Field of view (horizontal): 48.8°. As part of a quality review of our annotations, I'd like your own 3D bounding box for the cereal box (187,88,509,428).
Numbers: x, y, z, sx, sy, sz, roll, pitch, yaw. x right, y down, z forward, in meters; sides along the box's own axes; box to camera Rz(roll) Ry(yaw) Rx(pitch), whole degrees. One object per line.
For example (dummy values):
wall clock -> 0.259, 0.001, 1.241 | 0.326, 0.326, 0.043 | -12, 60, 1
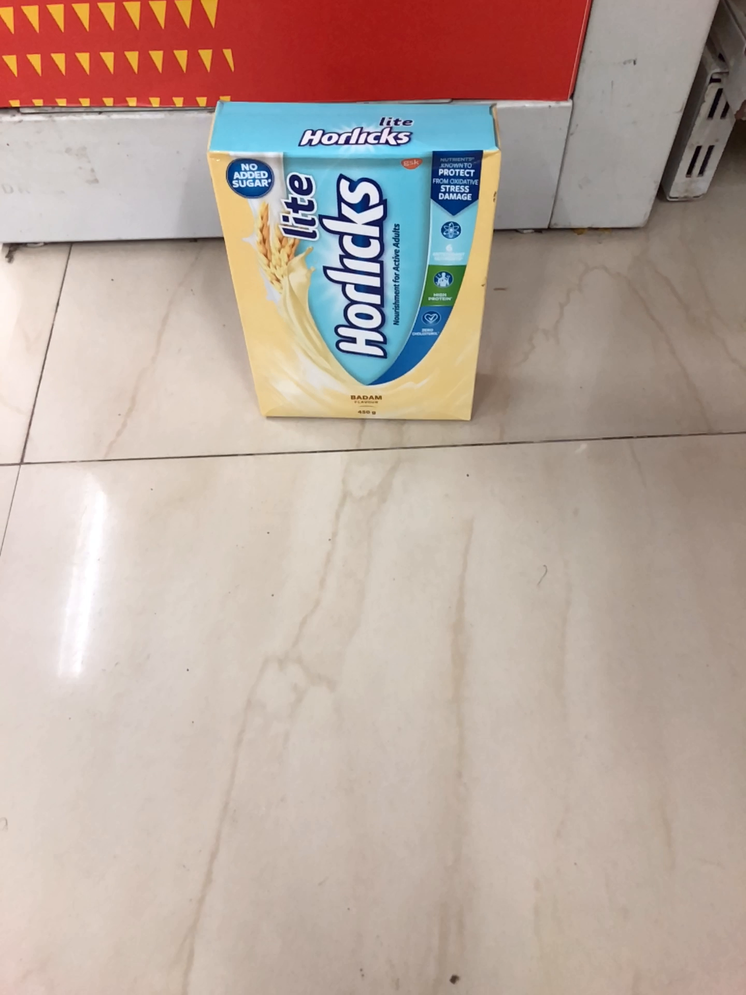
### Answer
cereal box -> -0.012, -0.126, 0.473 | 0.150, 0.189, 0.050 | 2, 52, 1
